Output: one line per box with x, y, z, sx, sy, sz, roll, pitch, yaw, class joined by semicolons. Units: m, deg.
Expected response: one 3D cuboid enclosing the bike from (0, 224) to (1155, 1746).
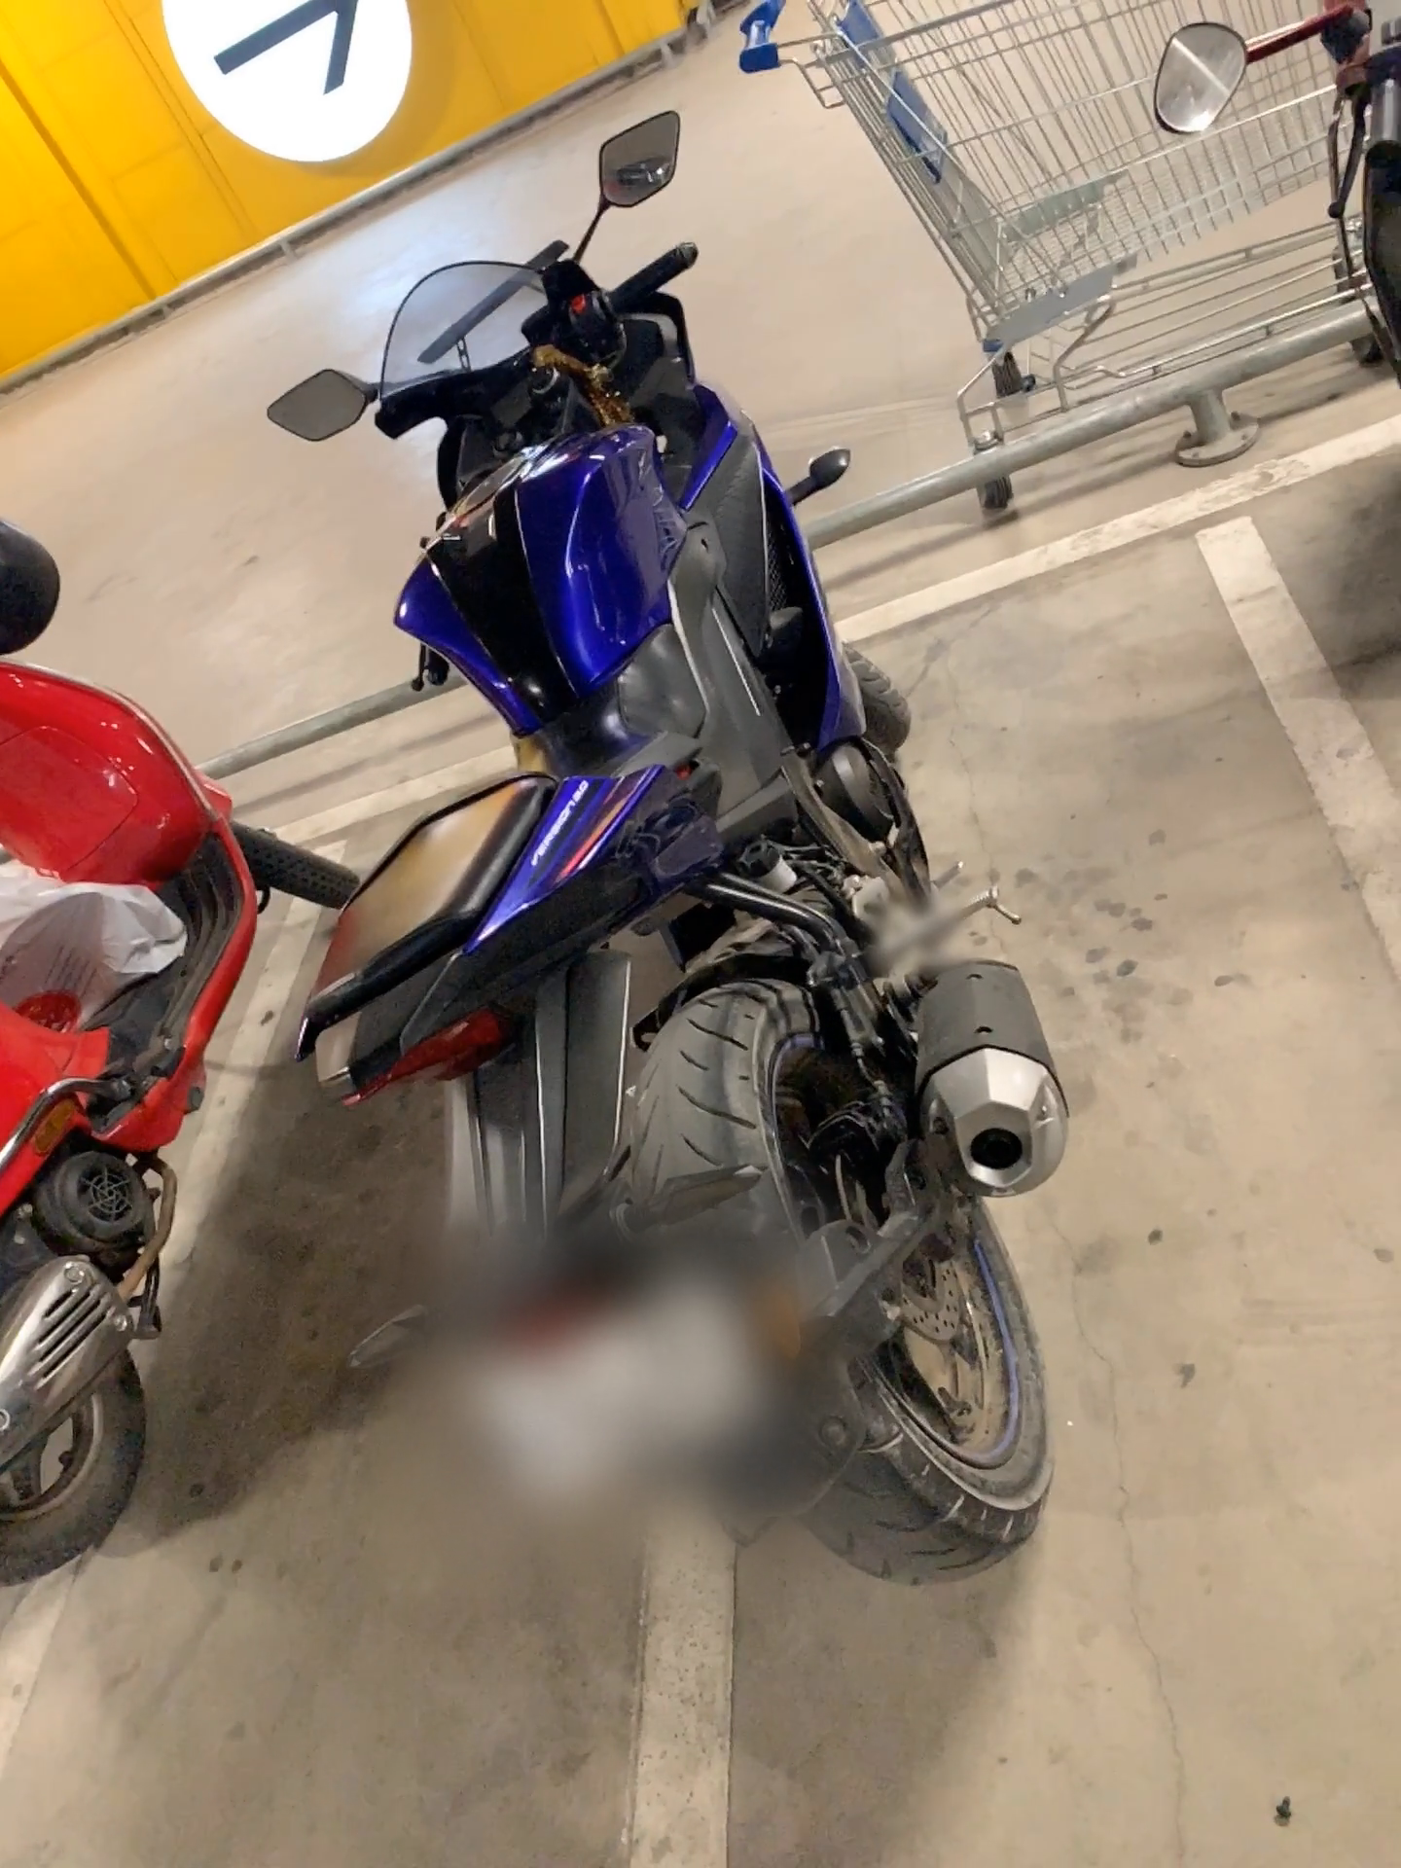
-0.267;-0.079;1.790;0.688;0.932;1.658;-26;39;7;bike
